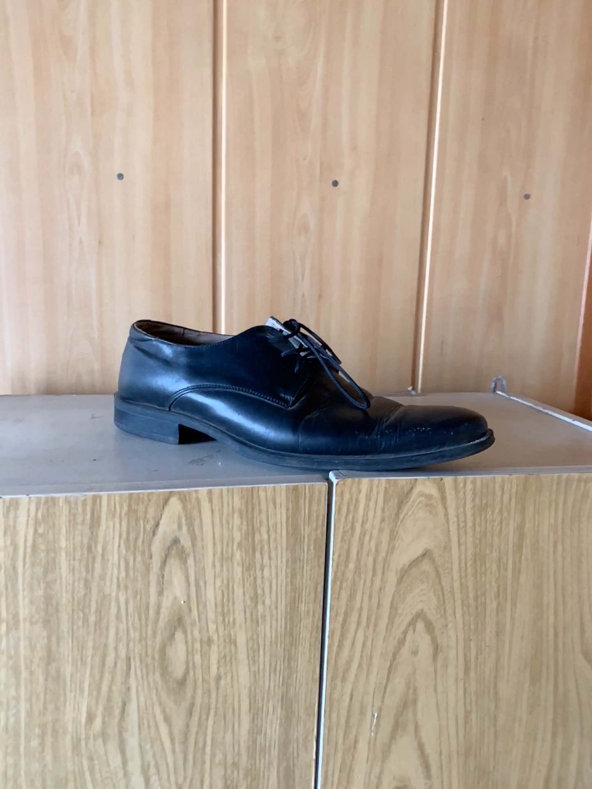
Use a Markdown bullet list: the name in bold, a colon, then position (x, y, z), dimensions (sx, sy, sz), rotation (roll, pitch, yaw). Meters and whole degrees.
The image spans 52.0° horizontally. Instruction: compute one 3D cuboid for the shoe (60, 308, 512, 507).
- **shoe**: position (-0.007, -0.009, 0.452), dimensions (0.300, 0.090, 0.140), rotation (6, 12, 23)
